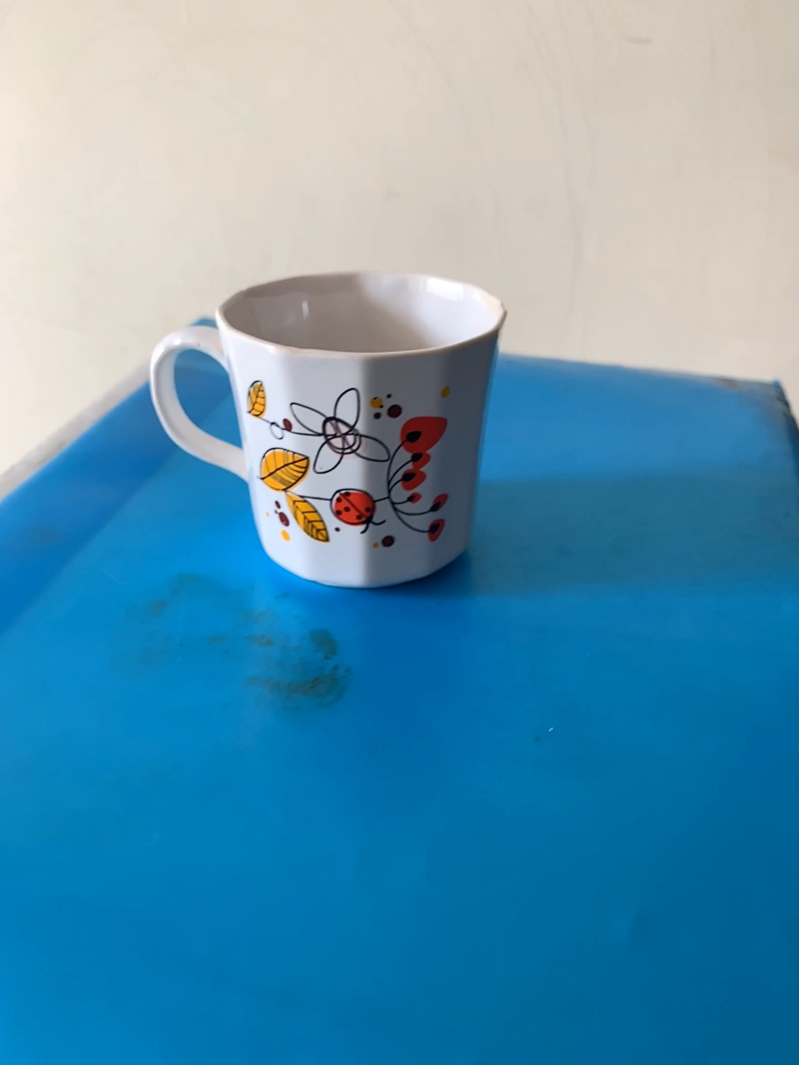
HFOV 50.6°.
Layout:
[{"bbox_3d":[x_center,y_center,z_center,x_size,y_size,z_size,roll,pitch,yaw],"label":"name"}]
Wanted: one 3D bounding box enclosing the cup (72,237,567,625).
[{"bbox_3d":[-0.017,-0.033,0.221,0.100,0.060,0.071,14,33,15],"label":"cup"}]
